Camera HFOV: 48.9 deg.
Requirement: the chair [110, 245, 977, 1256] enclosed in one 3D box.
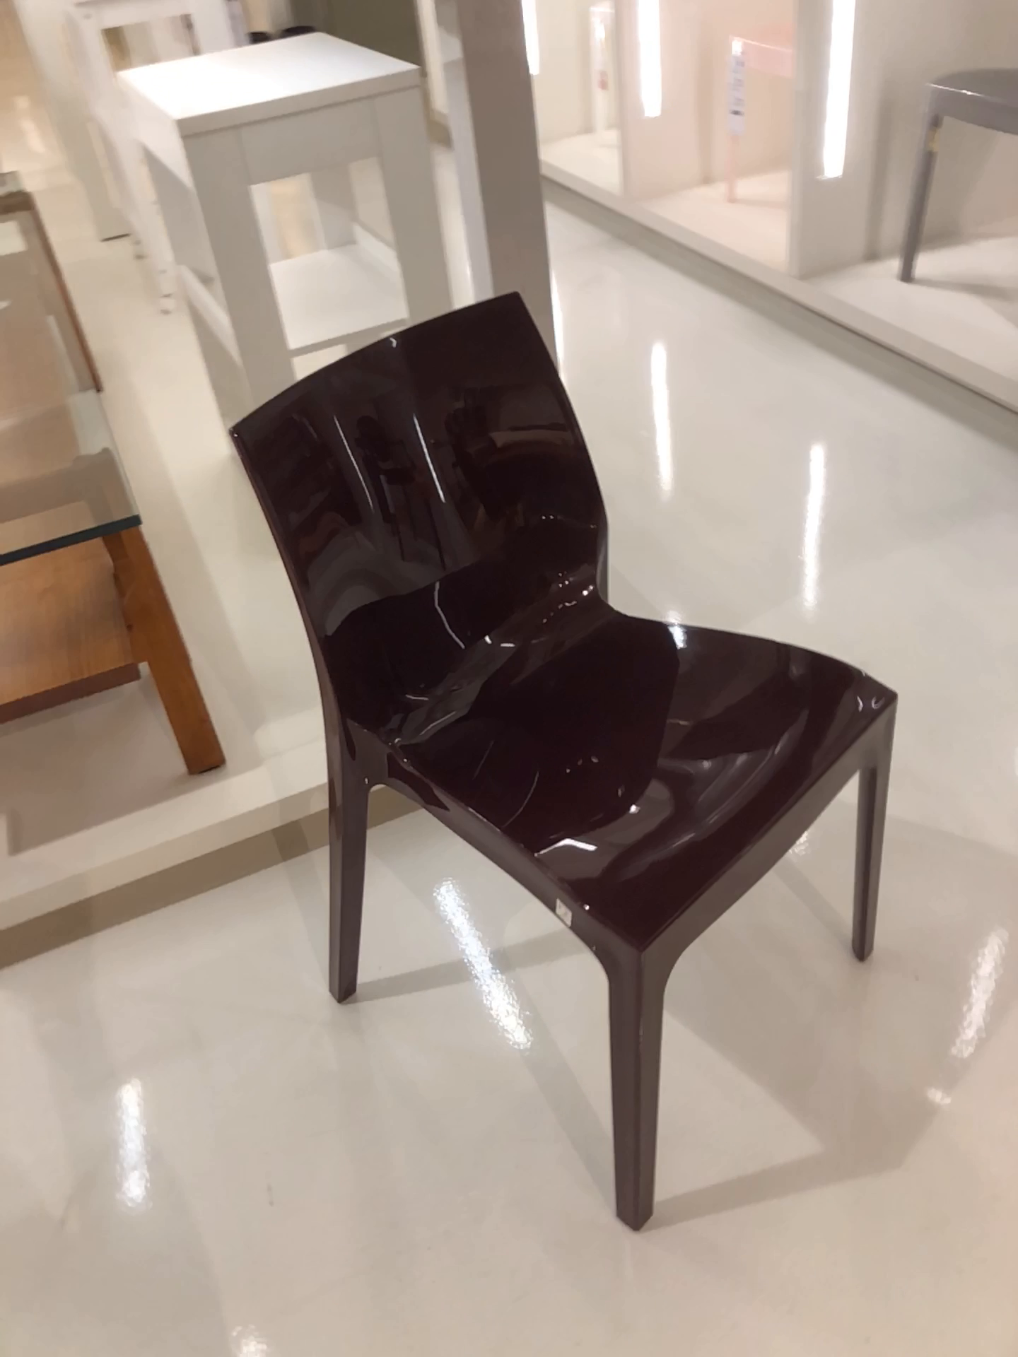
[{"bbox_3d":[0.065,0.054,1.241,0.562,0.814,0.532,27,50,36],"label":"chair"}]
